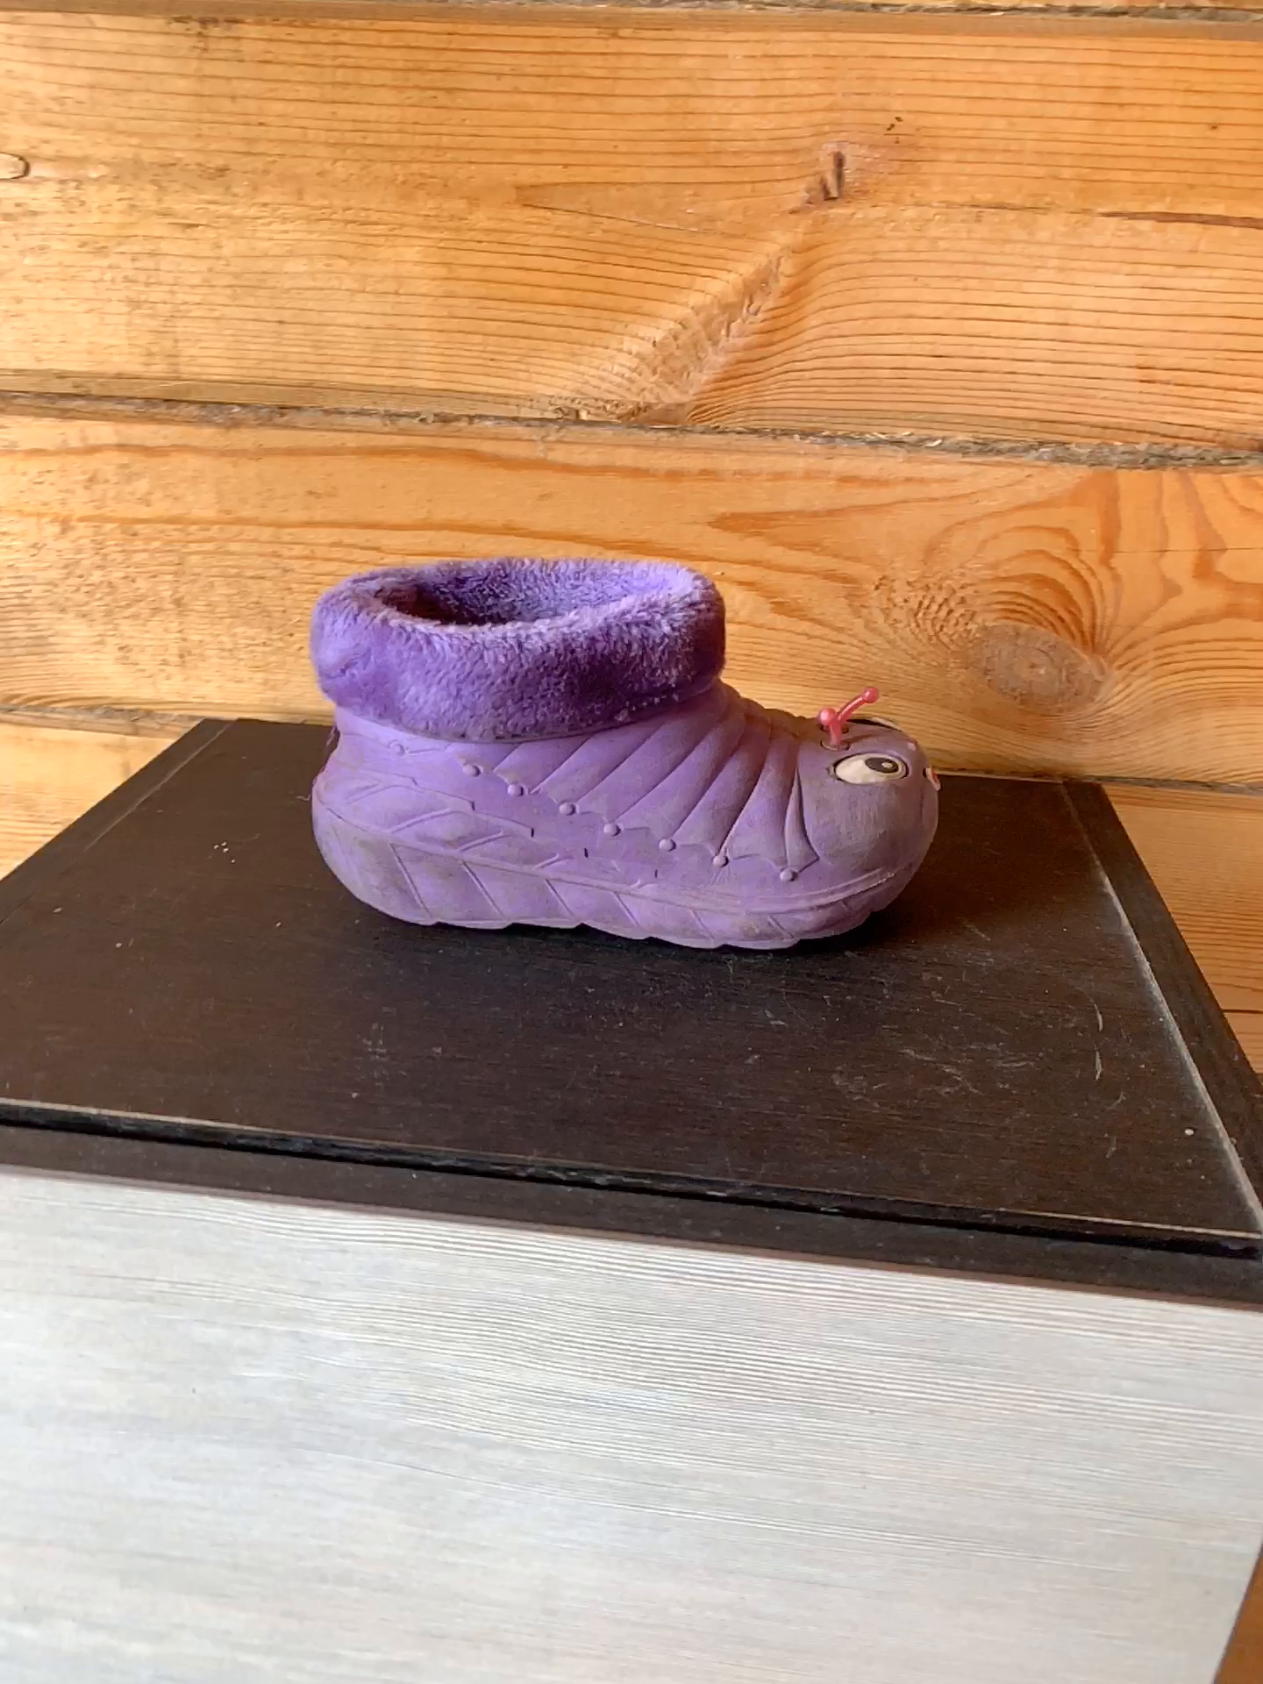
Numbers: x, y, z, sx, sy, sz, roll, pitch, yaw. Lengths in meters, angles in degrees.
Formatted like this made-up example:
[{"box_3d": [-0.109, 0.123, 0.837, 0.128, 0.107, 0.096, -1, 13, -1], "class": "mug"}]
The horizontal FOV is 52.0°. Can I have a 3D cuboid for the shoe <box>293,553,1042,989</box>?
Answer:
[{"box_3d": [0.009, -0.027, 0.406, 0.200, 0.099, 0.091, 3, 23, 2], "class": "shoe"}]
